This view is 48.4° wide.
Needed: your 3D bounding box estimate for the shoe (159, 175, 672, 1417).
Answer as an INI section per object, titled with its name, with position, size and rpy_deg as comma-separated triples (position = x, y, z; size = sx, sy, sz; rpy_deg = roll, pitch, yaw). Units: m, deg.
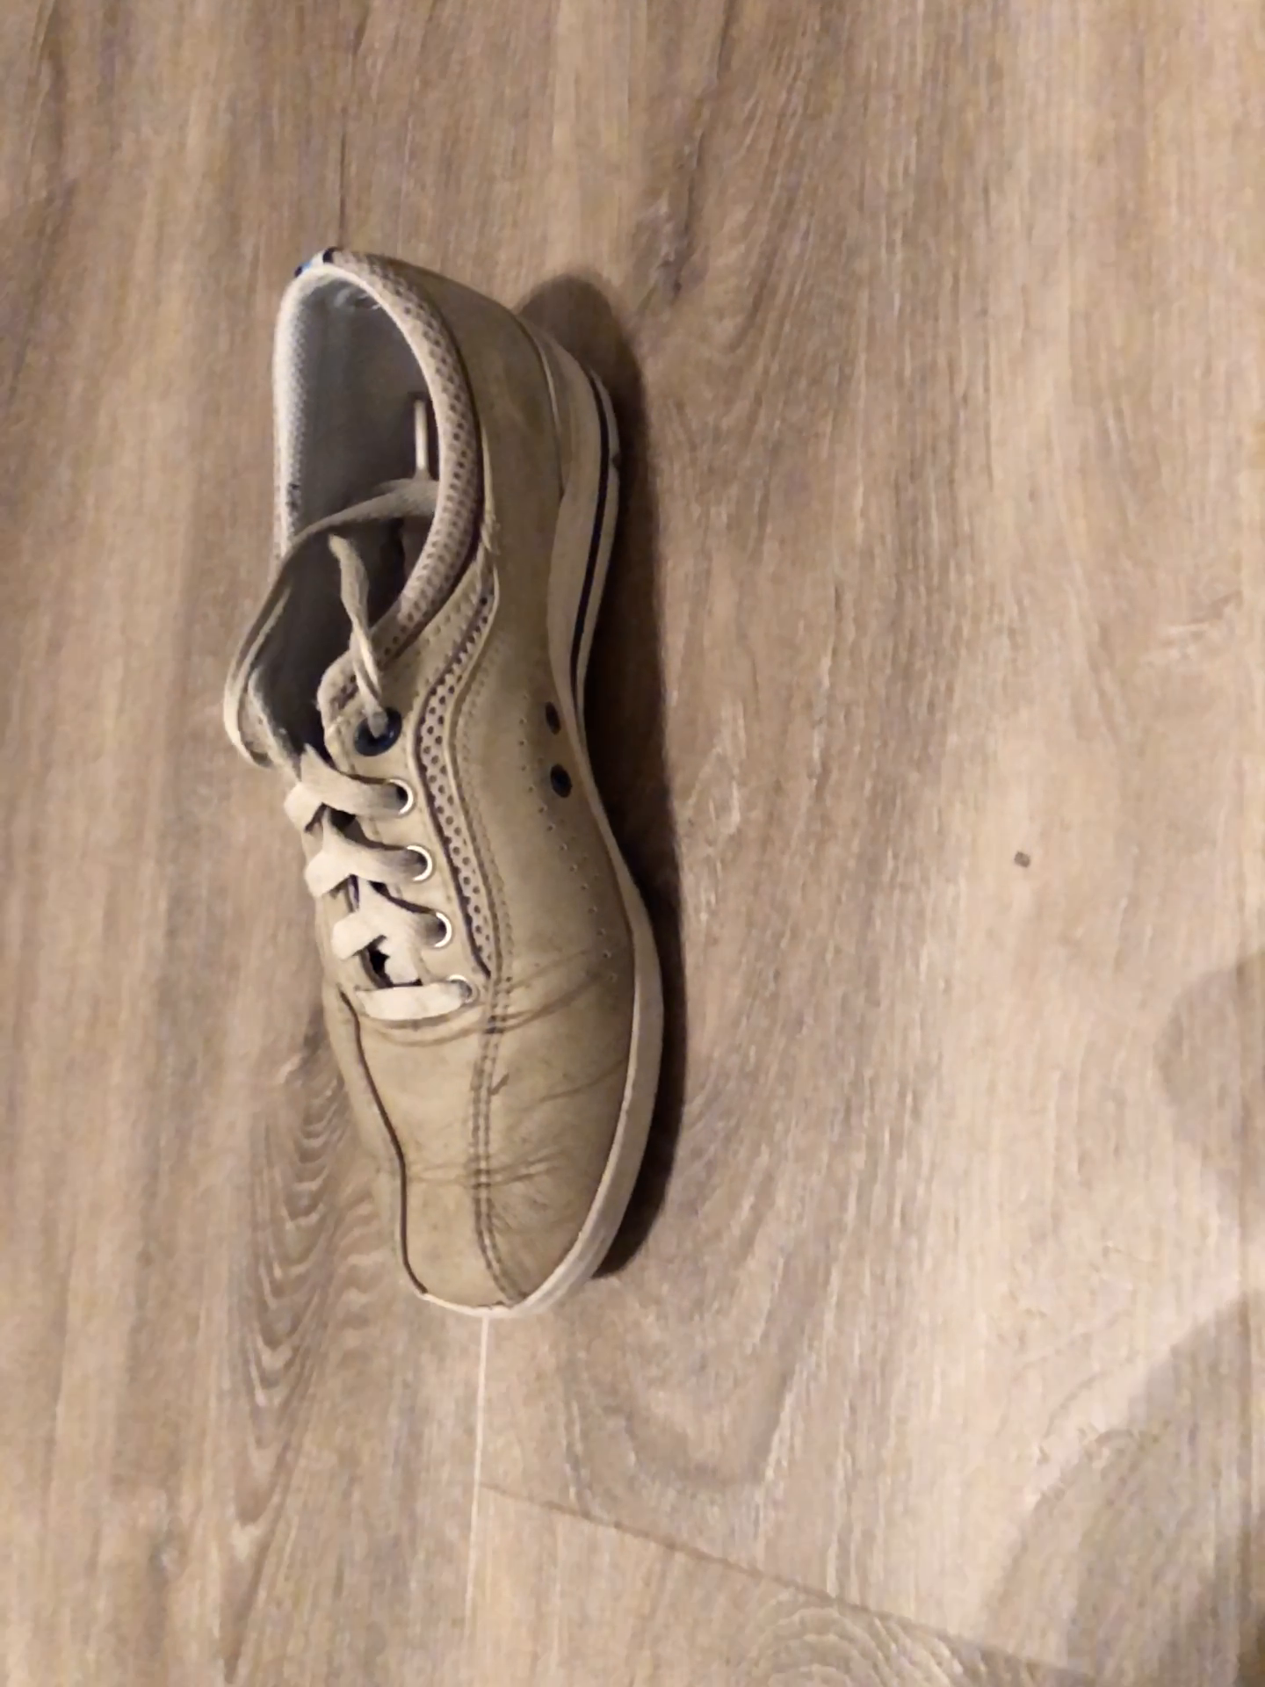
[shoe]
position = -0.049, -0.009, 0.333
size = 0.090, 0.070, 0.250
rpy_deg = -7, 79, 36
